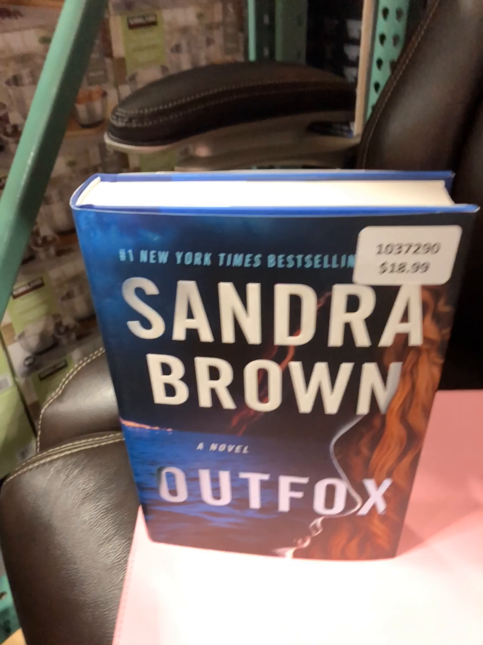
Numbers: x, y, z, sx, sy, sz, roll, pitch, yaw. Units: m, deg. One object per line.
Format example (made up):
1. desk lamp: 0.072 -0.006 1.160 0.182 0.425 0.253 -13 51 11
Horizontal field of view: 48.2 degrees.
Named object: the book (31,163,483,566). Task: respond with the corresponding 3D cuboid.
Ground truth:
1. book: 0.012 0.038 0.279 0.167 0.227 0.048 2 38 5
